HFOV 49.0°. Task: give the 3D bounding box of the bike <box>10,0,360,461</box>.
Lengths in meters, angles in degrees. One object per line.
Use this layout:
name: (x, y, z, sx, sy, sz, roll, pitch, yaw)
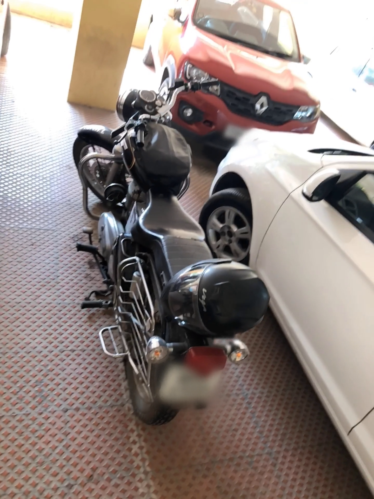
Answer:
bike: (-0.327, -0.207, 1.979, 0.692, 1.218, 1.790, 0, 45, -30)
